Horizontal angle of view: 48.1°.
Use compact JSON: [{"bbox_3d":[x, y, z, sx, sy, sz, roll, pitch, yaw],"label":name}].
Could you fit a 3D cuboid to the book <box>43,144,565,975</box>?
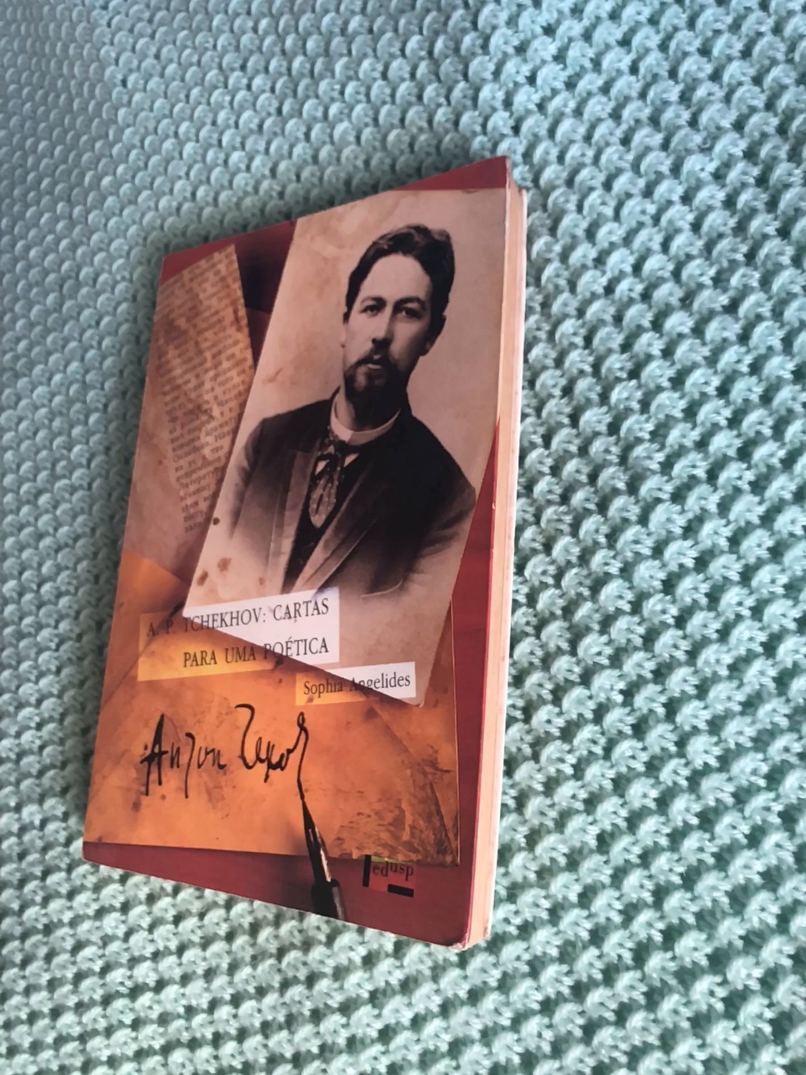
[{"bbox_3d":[-0.031,0.002,0.273,0.150,0.030,0.210,-2,78,27],"label":"book"}]
